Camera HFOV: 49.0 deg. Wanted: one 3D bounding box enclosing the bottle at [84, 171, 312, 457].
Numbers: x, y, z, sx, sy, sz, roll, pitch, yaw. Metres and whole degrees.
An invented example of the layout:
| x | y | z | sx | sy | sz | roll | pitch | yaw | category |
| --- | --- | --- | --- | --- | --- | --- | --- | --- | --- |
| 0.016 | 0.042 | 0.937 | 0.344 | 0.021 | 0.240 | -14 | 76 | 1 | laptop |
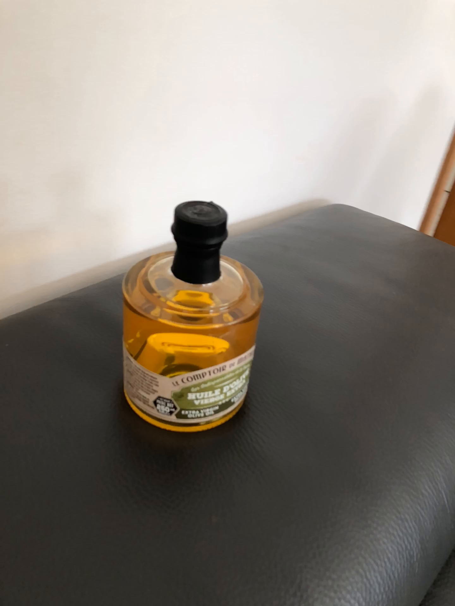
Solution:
| x | y | z | sx | sy | sz | roll | pitch | yaw | category |
| --- | --- | --- | --- | --- | --- | --- | --- | --- | --- |
| -0.026 | 0.001 | 0.305 | 0.090 | 0.129 | 0.090 | 6 | 33 | -4 | bottle |
